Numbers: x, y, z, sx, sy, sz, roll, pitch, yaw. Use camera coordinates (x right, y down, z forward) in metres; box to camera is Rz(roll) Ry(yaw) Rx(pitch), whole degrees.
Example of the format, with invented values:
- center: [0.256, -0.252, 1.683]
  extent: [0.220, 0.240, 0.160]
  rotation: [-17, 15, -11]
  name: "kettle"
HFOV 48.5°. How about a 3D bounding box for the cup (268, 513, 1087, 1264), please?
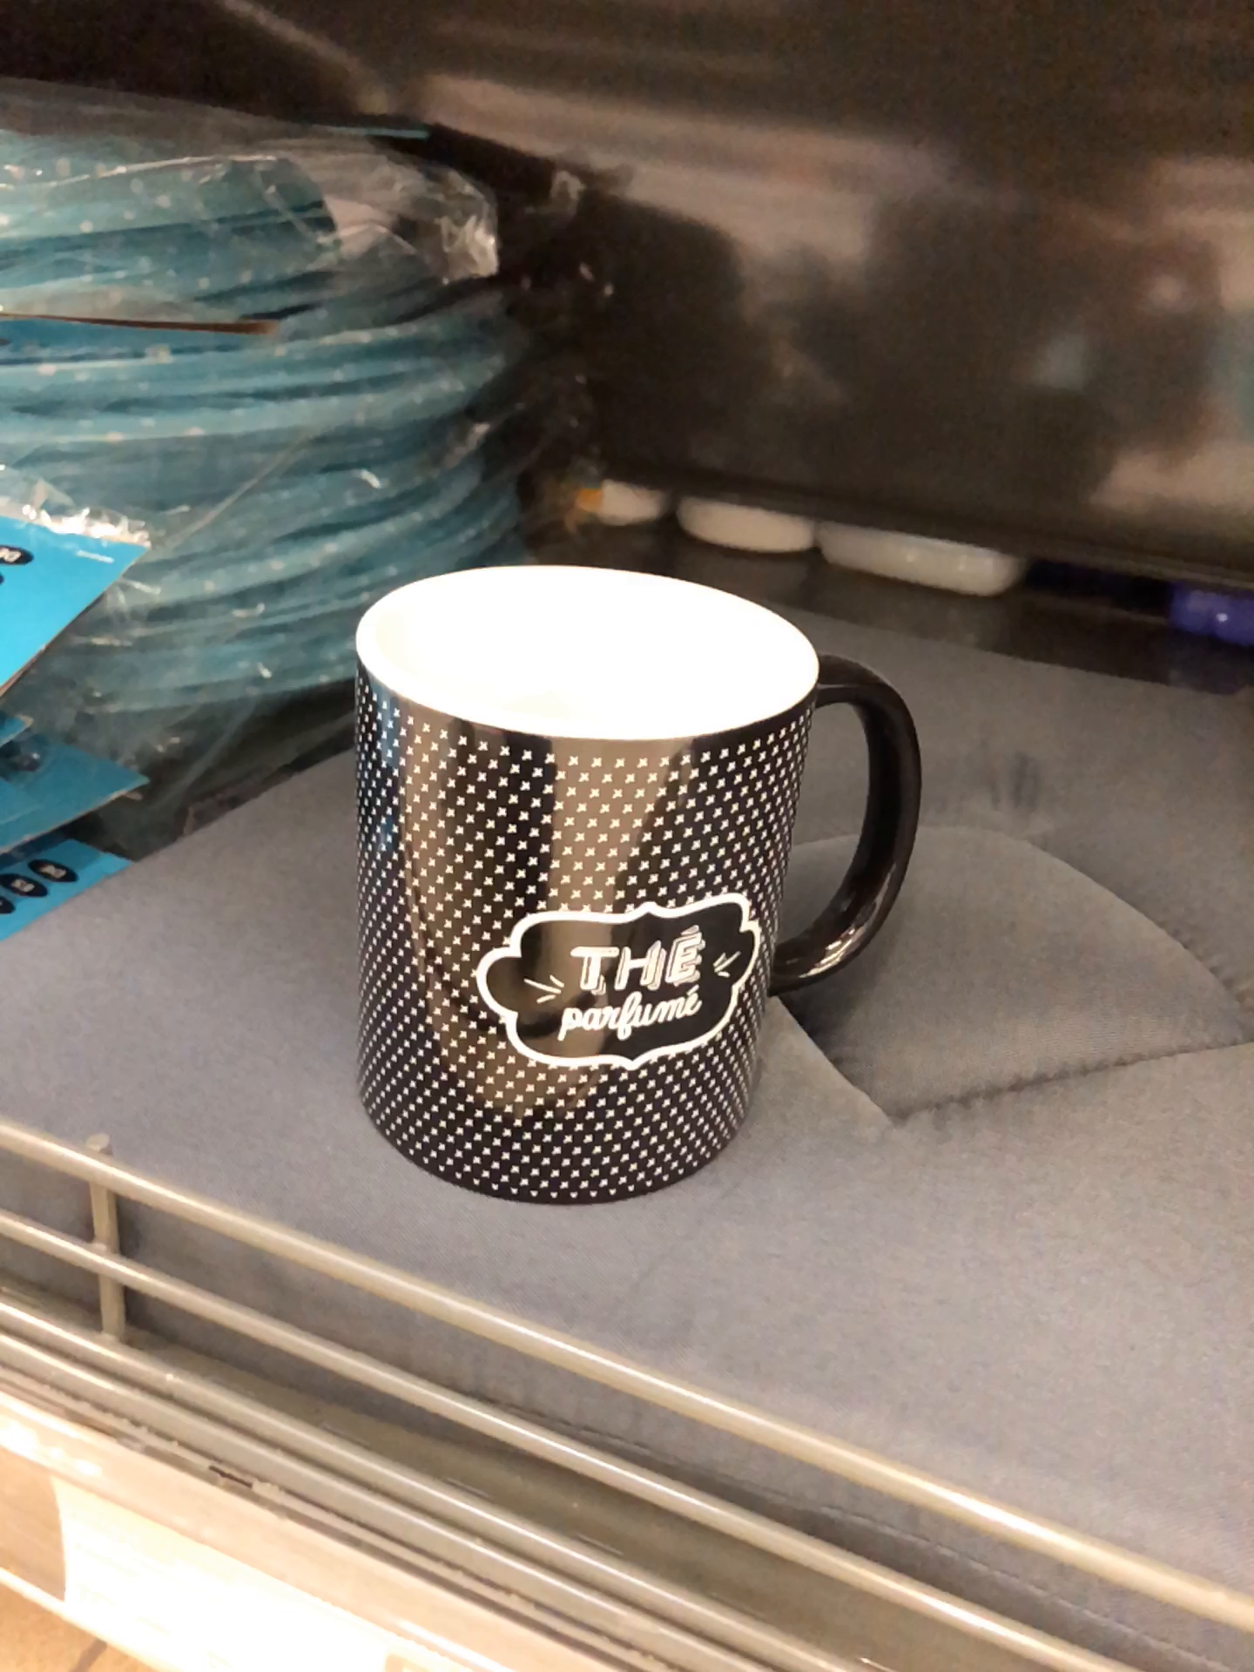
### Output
- center: [0.002, 0.000, 0.271]
  extent: [0.120, 0.099, 0.090]
  rotation: [-8, 30, -24]
  name: "cup"
